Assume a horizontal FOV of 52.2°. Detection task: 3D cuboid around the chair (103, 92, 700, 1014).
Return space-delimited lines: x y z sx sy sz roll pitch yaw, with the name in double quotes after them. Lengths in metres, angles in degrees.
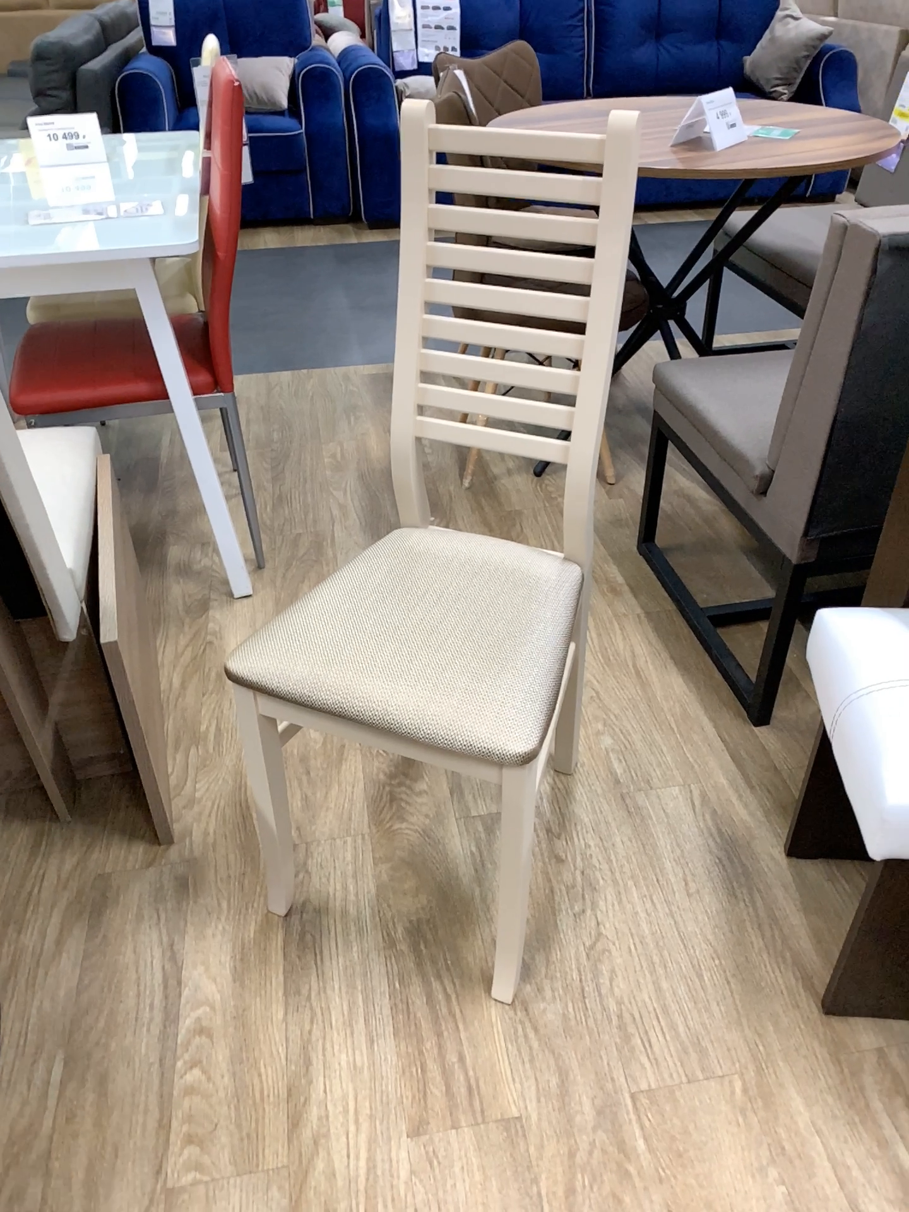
-0.009 -0.047 1.147 0.390 0.970 0.475 14 38 19 "chair"
